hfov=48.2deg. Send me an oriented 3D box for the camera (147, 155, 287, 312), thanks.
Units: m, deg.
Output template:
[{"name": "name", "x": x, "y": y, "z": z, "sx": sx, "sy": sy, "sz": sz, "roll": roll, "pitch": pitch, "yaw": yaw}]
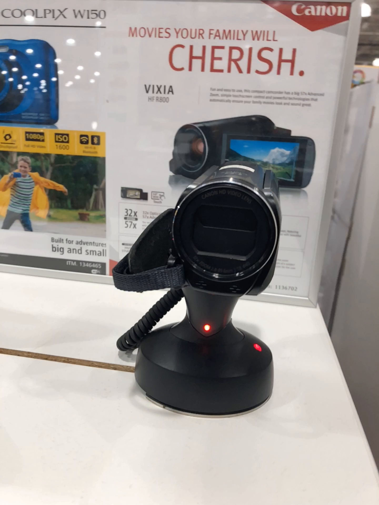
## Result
[{"name": "camera", "x": 0.022, "y": -0.022, "z": 0.255, "sx": 0.060, "sy": 0.060, "sz": 0.130, "roll": 6, "pitch": 17, "yaw": 9}]
